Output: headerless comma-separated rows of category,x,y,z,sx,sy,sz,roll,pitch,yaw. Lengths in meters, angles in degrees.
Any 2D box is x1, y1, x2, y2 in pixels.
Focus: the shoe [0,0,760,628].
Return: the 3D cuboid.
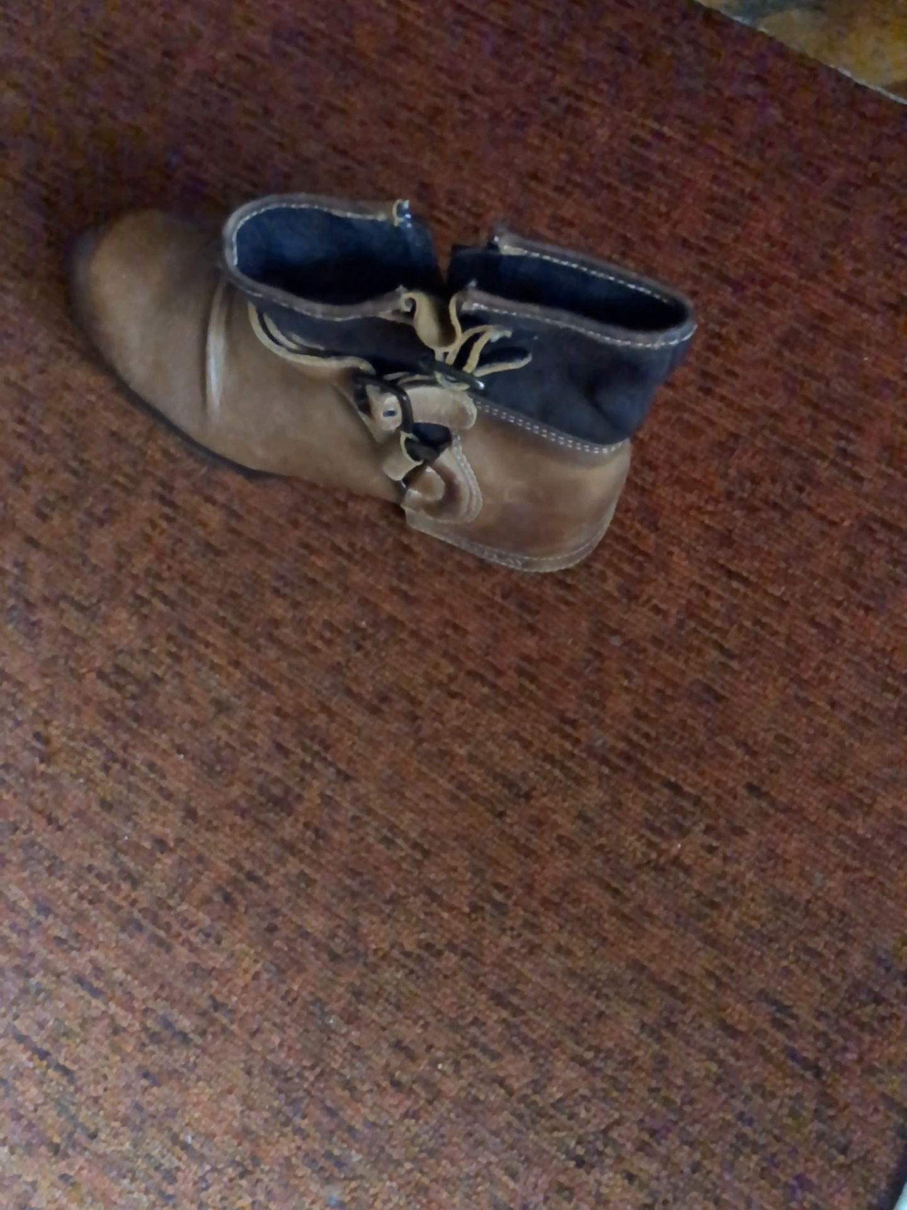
shoe,-0.056,-0.120,0.395,0.280,0.190,0.110,26,79,8
